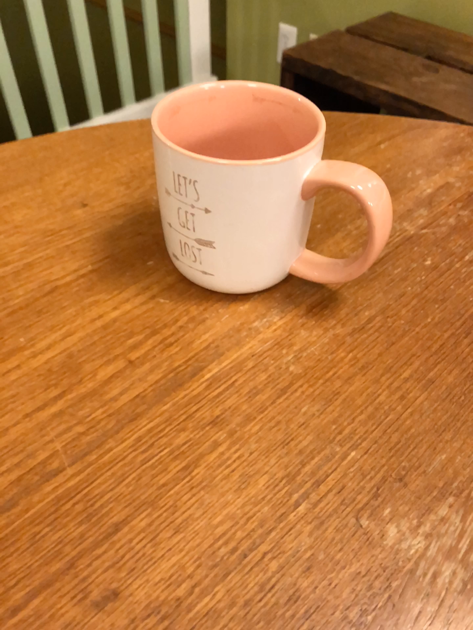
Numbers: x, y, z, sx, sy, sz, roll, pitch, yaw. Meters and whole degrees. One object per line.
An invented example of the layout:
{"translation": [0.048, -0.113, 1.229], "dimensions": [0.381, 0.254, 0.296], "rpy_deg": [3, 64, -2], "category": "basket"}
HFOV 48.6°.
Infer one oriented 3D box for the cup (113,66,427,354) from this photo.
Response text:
{"translation": [0.020, -0.068, 0.321], "dimensions": [0.144, 0.106, 0.094], "rpy_deg": [21, 49, 18], "category": "cup"}
